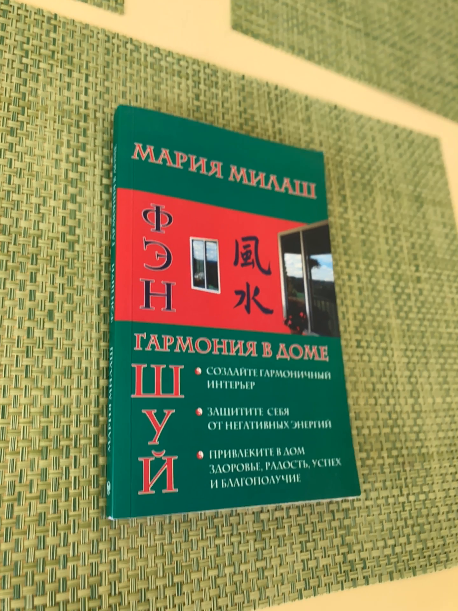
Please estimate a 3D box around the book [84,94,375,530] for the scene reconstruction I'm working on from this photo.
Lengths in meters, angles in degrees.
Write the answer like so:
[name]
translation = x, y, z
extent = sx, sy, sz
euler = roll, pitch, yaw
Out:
[book]
translation = 0.001, -0.001, 0.263
extent = 0.137, 0.020, 0.200
euler = 5, 71, -25
